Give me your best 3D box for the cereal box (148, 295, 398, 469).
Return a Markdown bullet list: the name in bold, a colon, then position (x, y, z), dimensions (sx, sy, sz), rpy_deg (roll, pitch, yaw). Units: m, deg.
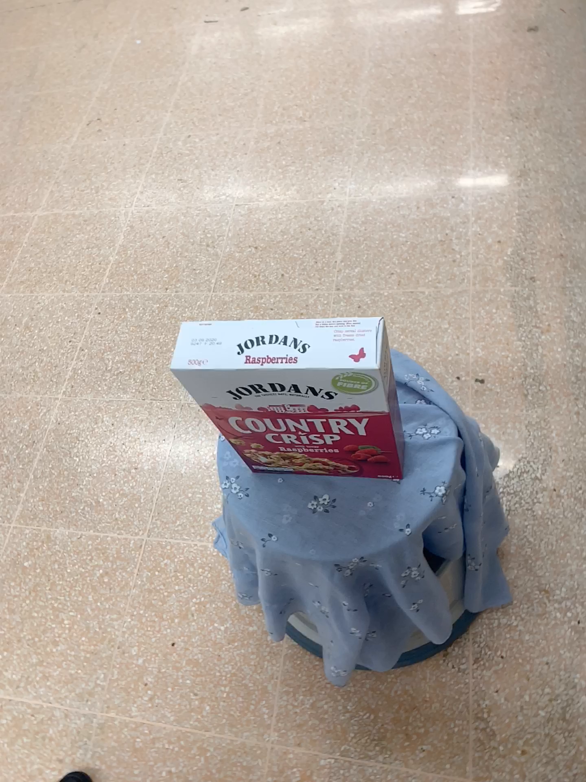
- **cereal box**: position (0.001, 0.004, 0.634), dimensions (0.200, 0.268, 0.060), rpy_deg (1, 64, 14)
